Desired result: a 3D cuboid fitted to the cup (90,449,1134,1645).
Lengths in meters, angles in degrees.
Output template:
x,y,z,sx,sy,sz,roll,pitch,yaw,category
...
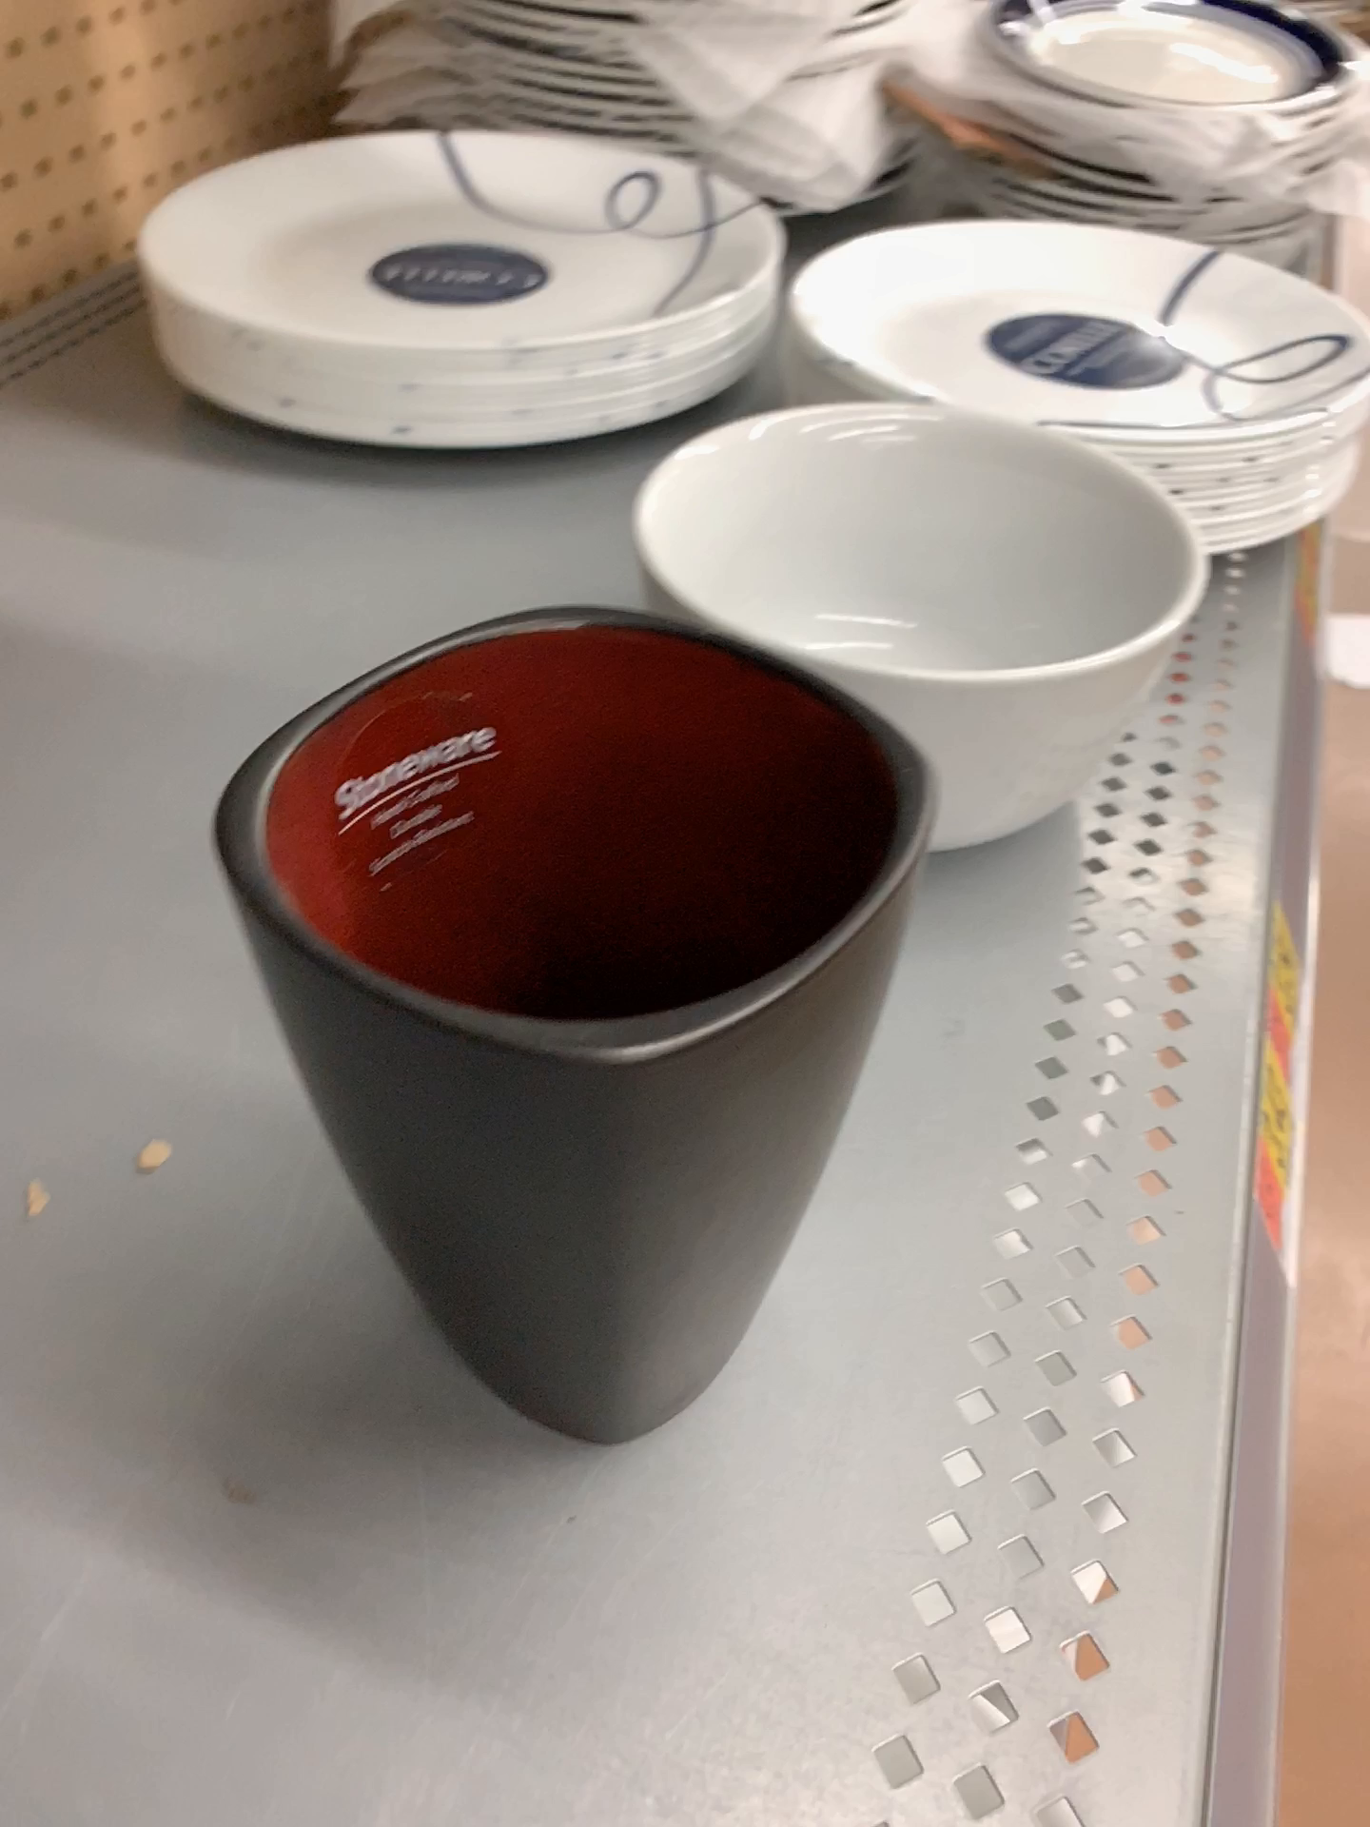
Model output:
x,y,z,sx,sy,sz,roll,pitch,yaw,category
-0.003,0.017,0.245,0.090,0.129,0.130,24,47,21,cup
